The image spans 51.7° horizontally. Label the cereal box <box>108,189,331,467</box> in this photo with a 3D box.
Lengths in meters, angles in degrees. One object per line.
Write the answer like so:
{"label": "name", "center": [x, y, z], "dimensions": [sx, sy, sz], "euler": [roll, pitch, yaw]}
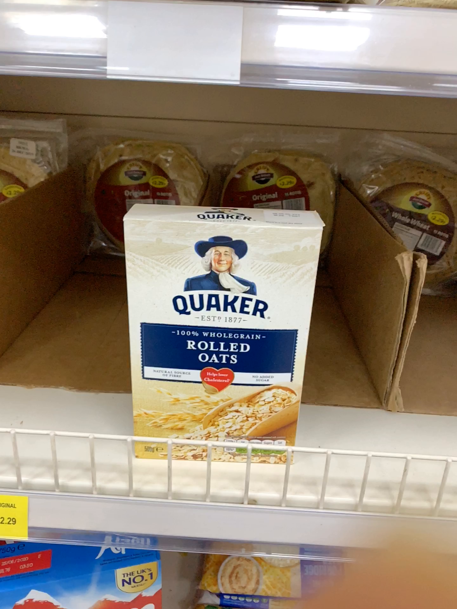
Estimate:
{"label": "cereal box", "center": [-0.010, 0.025, 0.389], "dimensions": [0.150, 0.218, 0.060], "euler": [3, 24, 0]}
